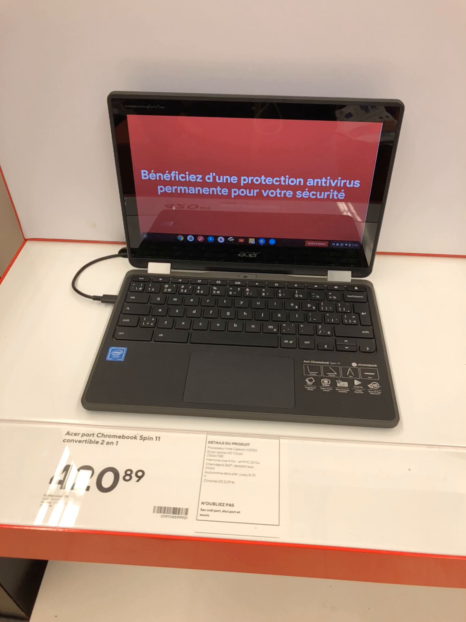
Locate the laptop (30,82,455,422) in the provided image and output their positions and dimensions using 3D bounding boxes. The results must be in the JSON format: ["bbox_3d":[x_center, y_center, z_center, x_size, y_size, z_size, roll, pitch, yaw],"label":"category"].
[{"bbox_3d":[0.010,-0.067,0.503,0.289,0.198,0.253,2,45,3],"label":"laptop"}]
